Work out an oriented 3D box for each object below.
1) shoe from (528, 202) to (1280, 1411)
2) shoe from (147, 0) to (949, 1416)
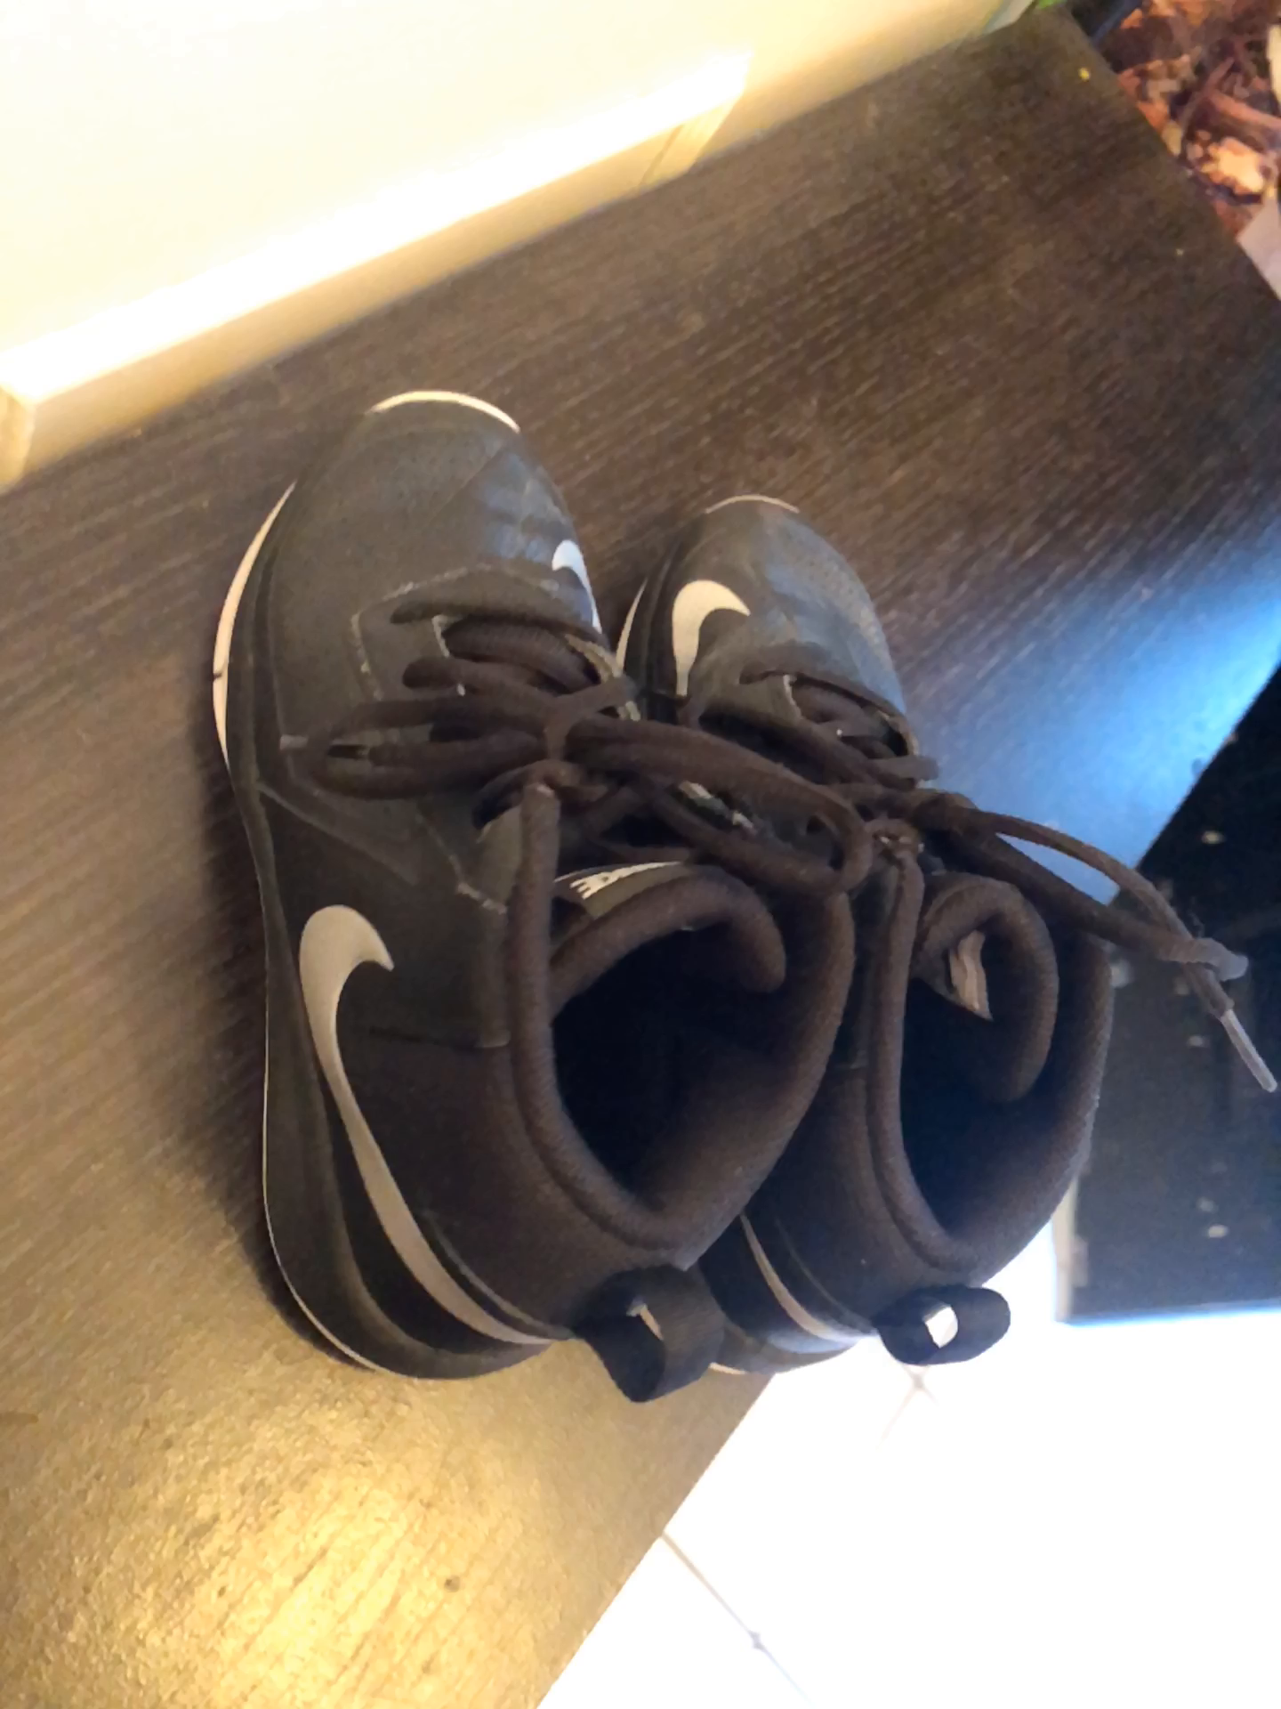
[{"bbox_3d":[0.049,0.000,0.346,0.100,0.129,0.251,12,65,-26],"label":"shoe"},{"bbox_3d":[-0.036,-0.026,0.301,0.100,0.129,0.260,6,68,-28],"label":"shoe"}]
